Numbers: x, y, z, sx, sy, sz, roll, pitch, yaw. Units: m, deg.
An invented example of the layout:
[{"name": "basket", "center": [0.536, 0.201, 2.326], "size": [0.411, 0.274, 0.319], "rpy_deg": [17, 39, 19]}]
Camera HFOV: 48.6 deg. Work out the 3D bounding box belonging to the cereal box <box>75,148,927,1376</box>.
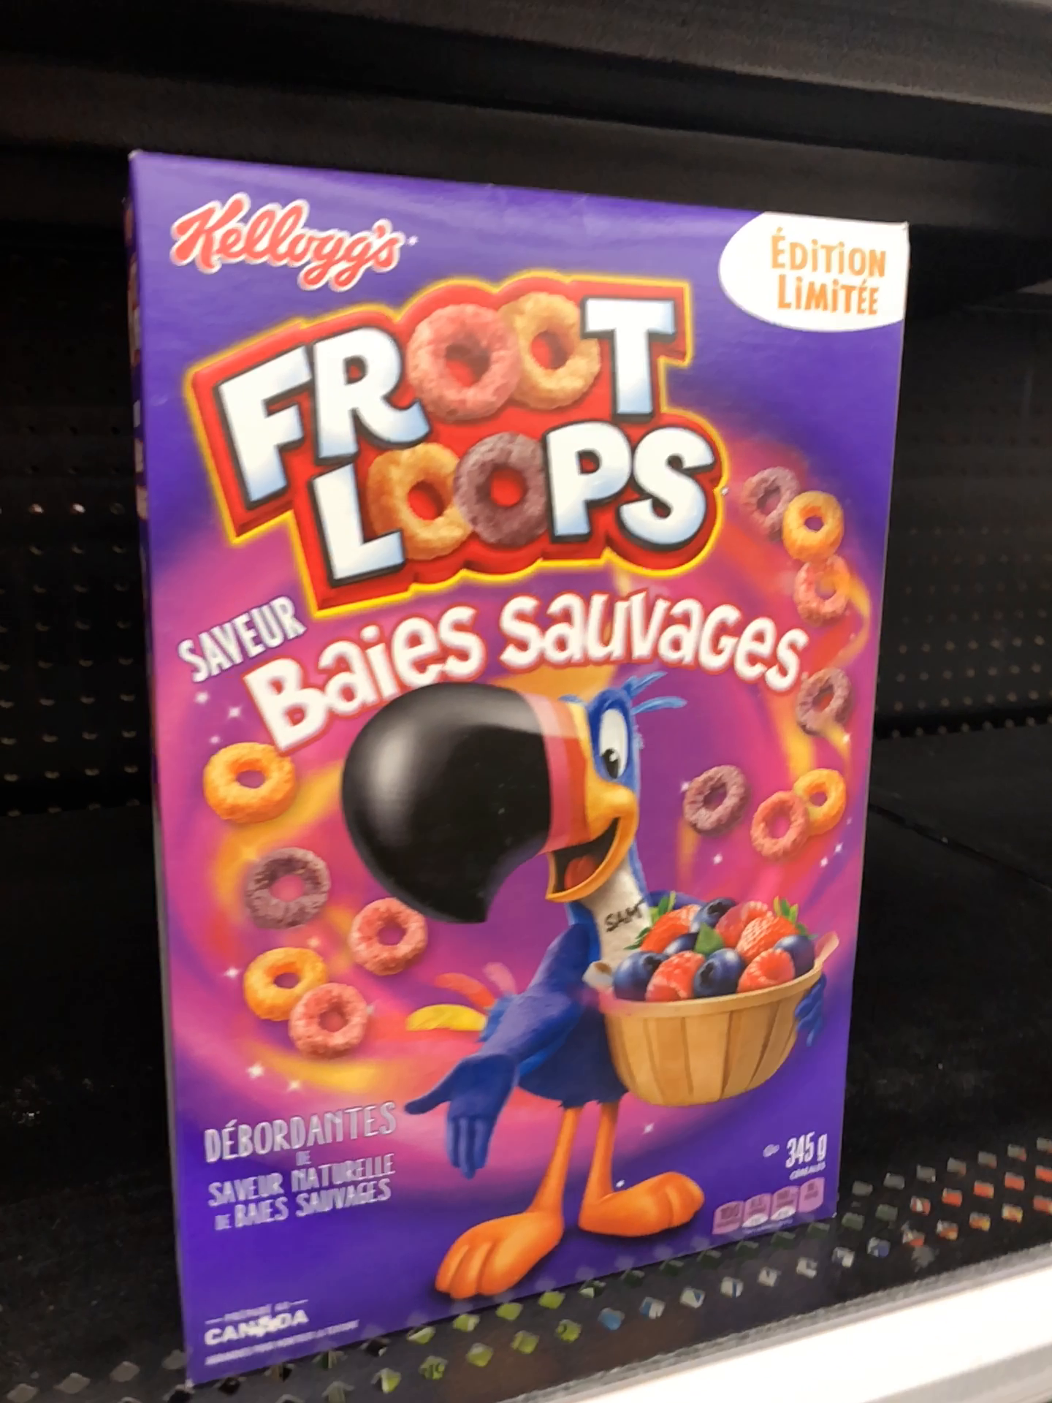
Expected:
[{"name": "cereal box", "center": [-0.003, 0.017, 0.324], "size": [0.210, 0.289, 0.050], "rpy_deg": [-4, 12, -19]}]
